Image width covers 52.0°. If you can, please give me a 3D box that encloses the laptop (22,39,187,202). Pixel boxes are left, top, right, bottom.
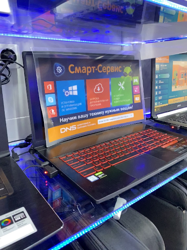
[{"bbox_3d":[0.078,-0.061,0.498,0.405,0.237,0.287,-12,21,-36],"label":"laptop"}]
